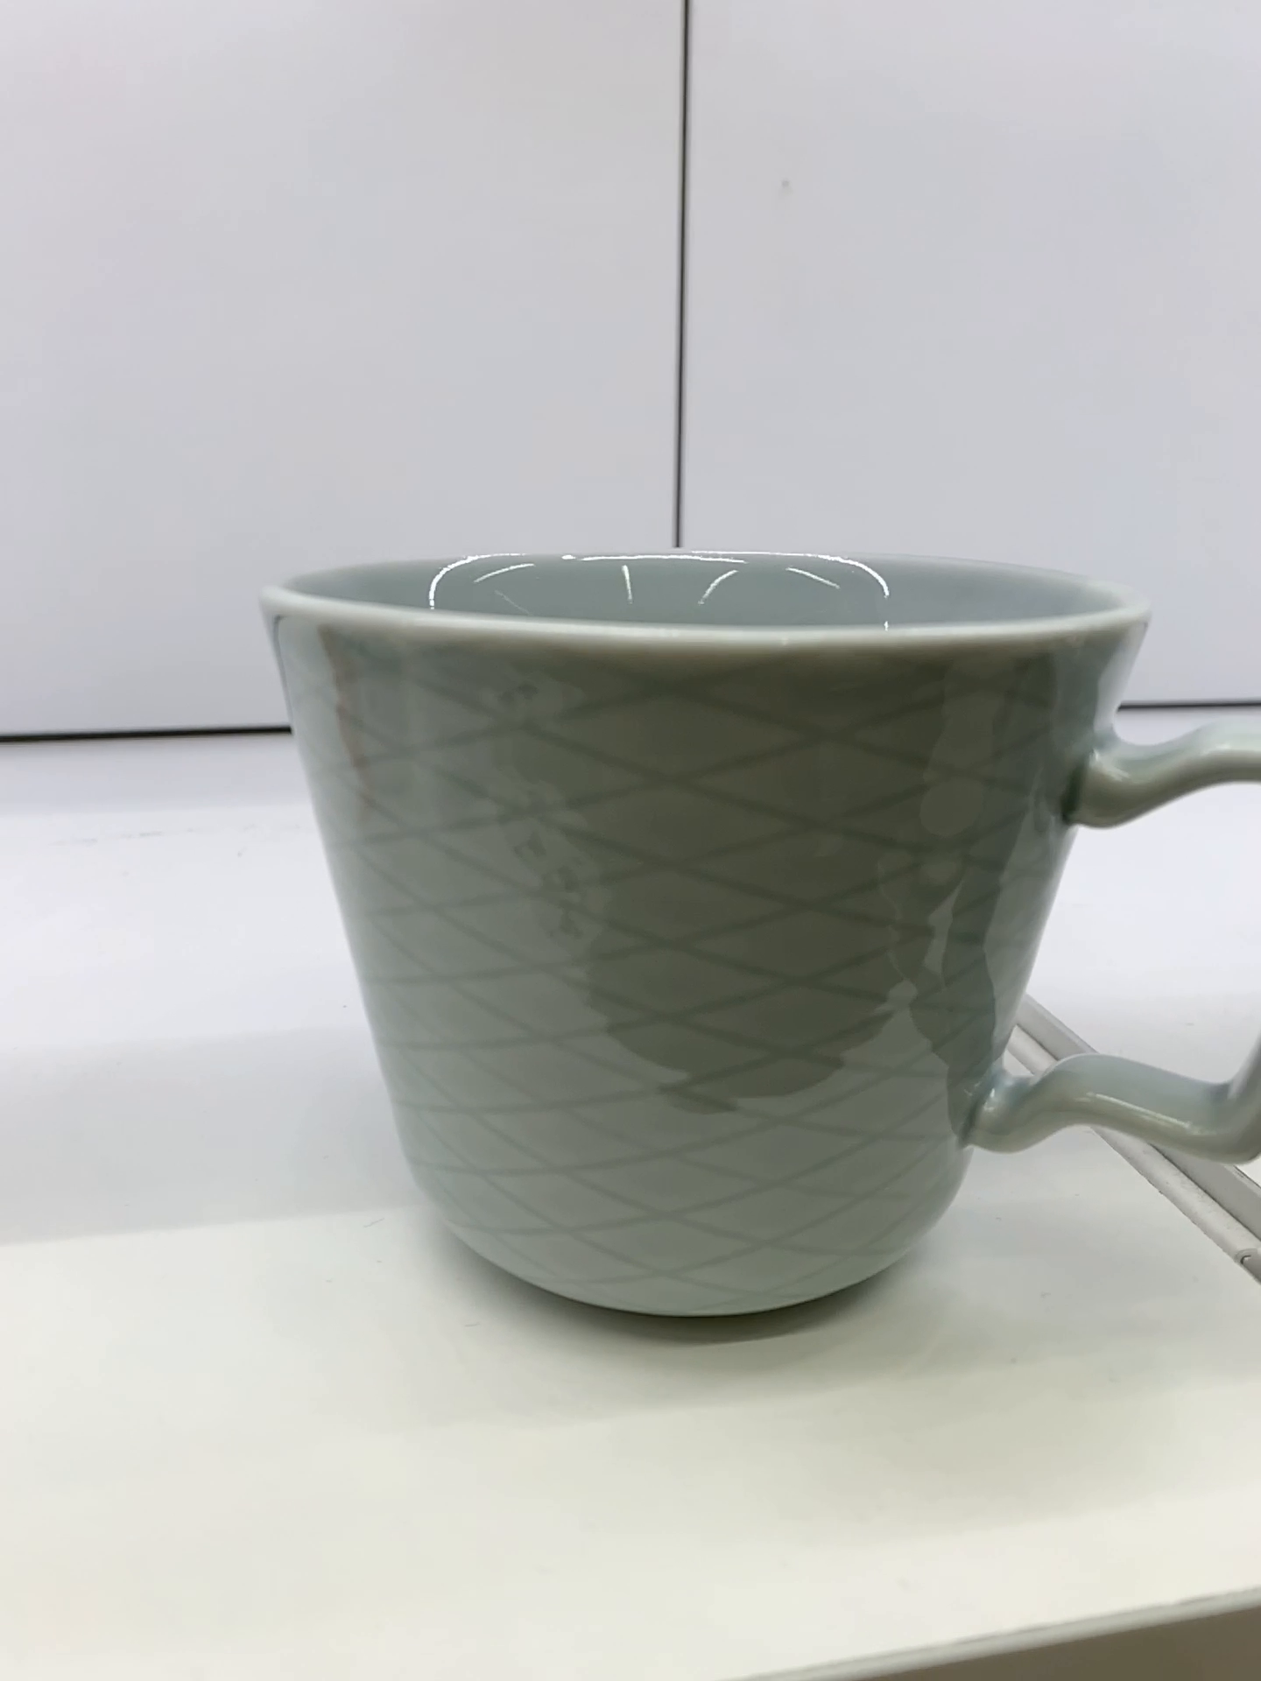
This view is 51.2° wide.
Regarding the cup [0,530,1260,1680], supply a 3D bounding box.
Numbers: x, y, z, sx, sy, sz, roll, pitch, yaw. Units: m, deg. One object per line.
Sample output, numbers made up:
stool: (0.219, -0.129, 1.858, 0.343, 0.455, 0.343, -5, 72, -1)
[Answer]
cup: (0.010, 0.008, 0.170, 0.124, 0.089, 0.109, 6, 16, 22)
